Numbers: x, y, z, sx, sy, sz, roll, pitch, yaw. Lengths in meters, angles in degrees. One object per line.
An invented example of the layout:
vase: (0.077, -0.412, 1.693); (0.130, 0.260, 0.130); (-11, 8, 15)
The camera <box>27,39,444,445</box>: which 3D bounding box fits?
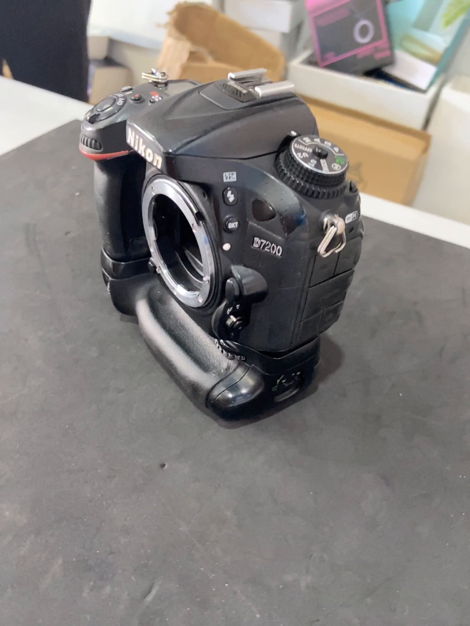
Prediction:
camera: (-0.010, -0.044, 0.230); (0.100, 0.109, 0.140); (-25, 50, -28)
